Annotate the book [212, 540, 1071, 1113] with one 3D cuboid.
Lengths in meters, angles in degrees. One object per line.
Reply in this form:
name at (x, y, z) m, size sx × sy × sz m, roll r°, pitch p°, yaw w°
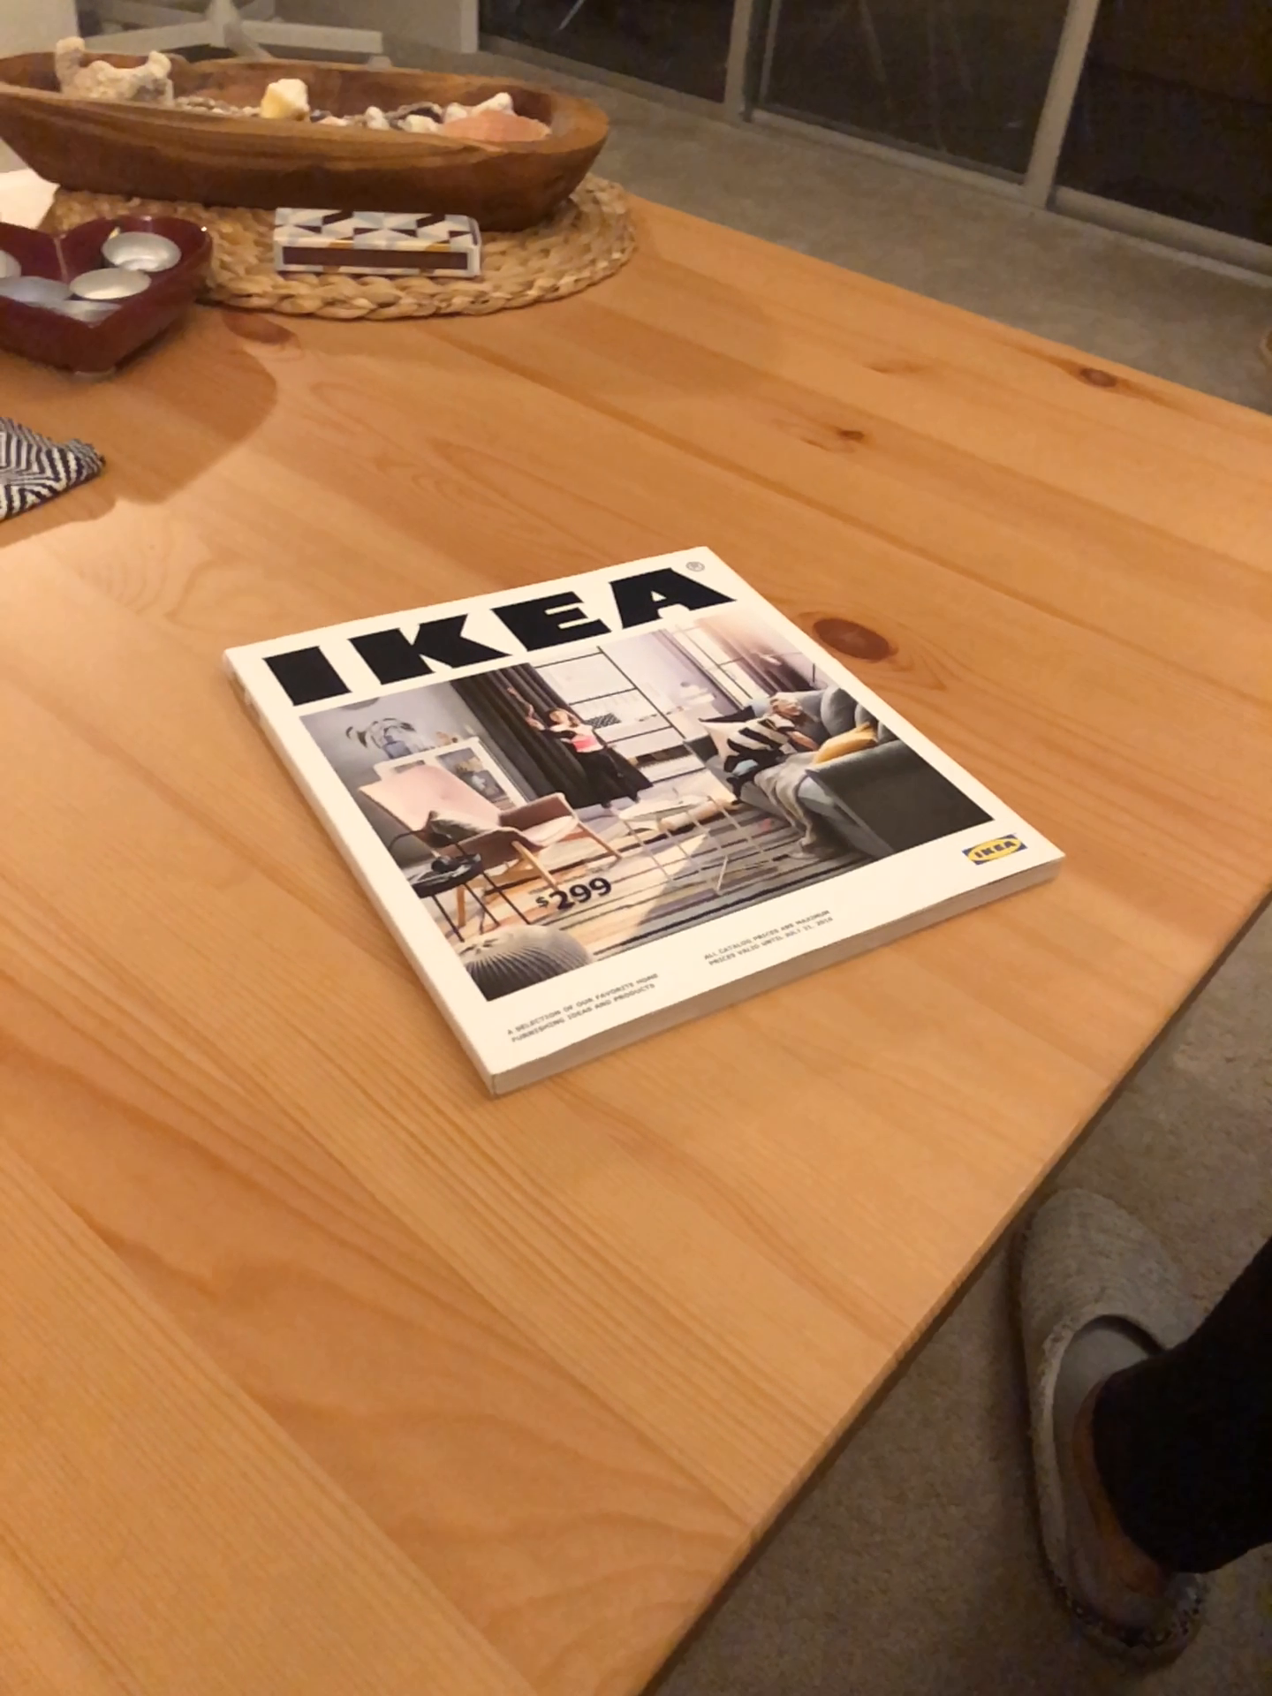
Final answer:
book at (-0.005, -0.030, 0.477) m, size 0.211 × 0.015 × 0.216 m, roll -18°, pitch 46°, yaw -26°
